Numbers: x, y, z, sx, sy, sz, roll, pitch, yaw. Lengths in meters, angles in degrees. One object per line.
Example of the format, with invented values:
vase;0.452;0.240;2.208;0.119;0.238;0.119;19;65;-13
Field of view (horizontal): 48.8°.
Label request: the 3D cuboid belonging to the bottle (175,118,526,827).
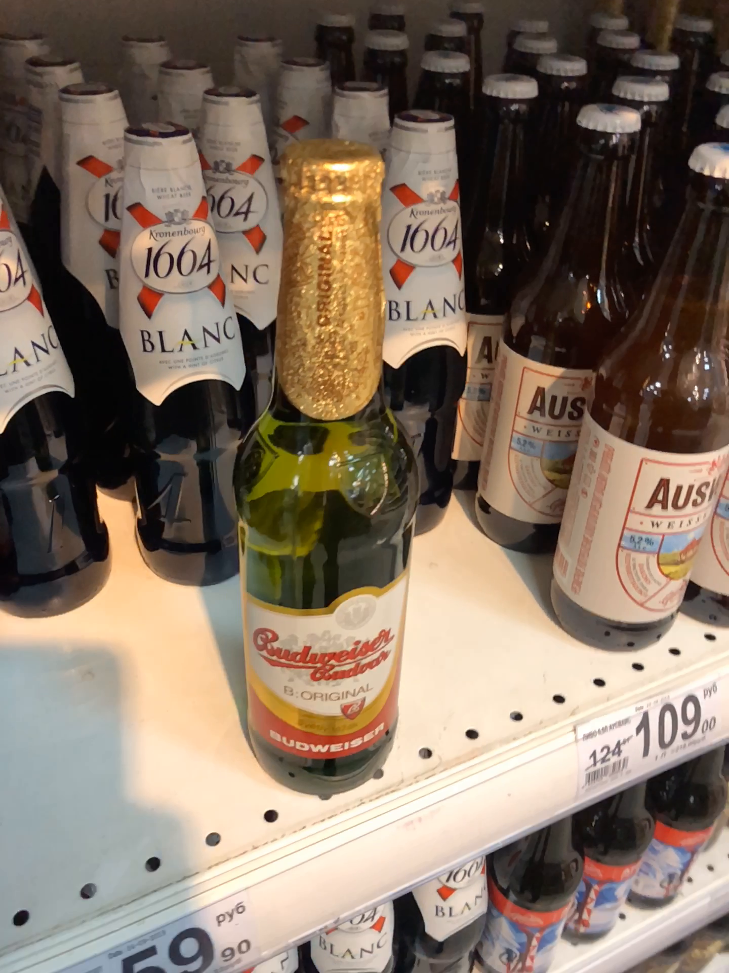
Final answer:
bottle;-0.013;0.014;0.286;0.080;0.254;0.070;-4;38;-9
